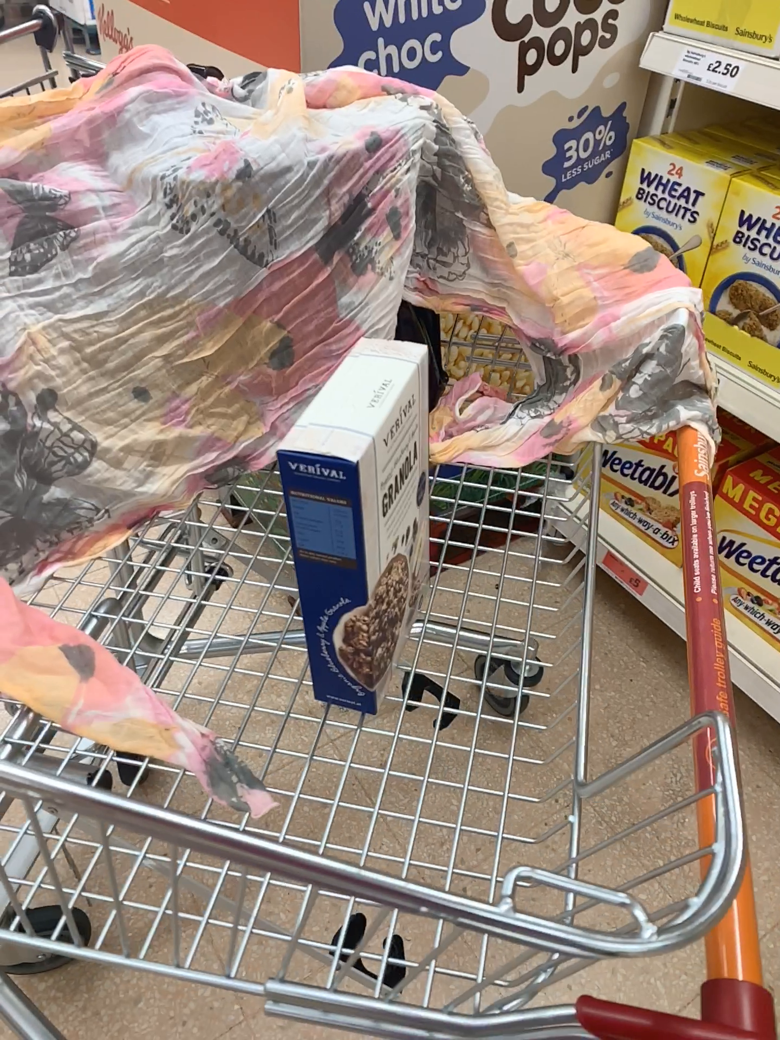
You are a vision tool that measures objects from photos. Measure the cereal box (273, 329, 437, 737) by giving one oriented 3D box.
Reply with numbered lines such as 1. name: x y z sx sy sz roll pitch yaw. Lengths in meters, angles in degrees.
1. cereal box: -0.013 0.012 0.528 0.050 0.228 0.141 11 41 14
